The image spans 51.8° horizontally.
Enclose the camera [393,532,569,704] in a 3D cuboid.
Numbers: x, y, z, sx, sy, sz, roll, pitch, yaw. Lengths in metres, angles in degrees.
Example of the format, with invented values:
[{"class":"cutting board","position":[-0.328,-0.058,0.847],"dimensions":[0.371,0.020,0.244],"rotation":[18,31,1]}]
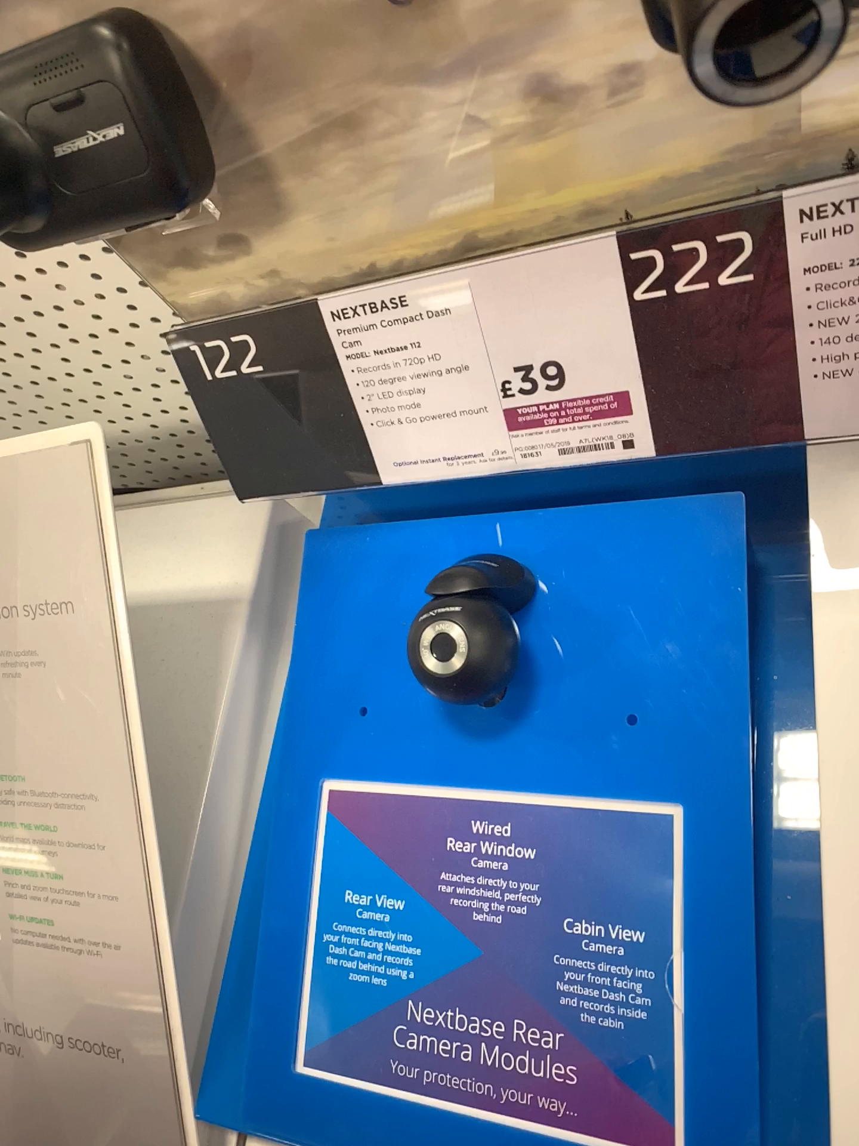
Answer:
[{"class":"camera","position":[0.018,0.017,0.289],"dimensions":[0.040,0.050,0.050],"rotation":[-4,80,27]}]
